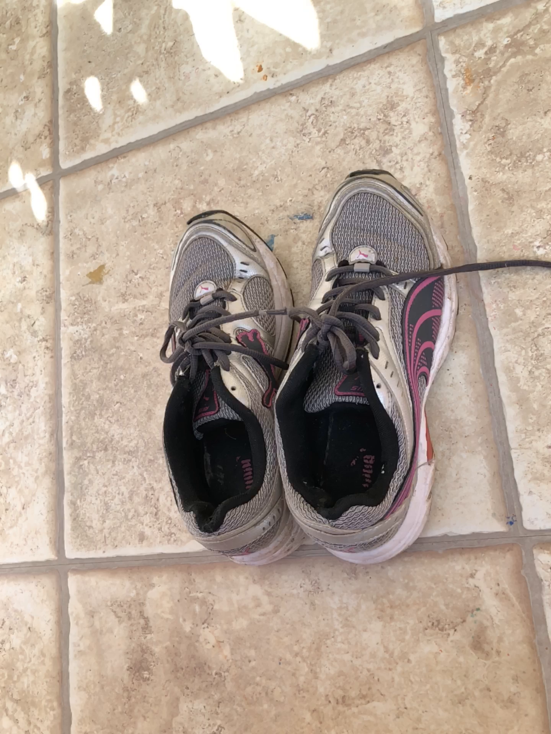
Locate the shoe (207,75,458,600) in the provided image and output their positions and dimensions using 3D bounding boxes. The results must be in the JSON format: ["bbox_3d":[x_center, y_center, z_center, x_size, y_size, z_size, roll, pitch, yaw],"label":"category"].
[{"bbox_3d":[0.048,-0.011,0.391,0.110,0.140,0.270,-2,79,25],"label":"shoe"}]

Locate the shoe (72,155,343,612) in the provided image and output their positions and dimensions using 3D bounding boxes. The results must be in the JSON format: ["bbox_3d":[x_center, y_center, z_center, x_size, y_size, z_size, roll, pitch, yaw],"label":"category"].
[{"bbox_3d":[-0.048,0.017,0.441,0.110,0.140,0.270,-14,74,22],"label":"shoe"}]
